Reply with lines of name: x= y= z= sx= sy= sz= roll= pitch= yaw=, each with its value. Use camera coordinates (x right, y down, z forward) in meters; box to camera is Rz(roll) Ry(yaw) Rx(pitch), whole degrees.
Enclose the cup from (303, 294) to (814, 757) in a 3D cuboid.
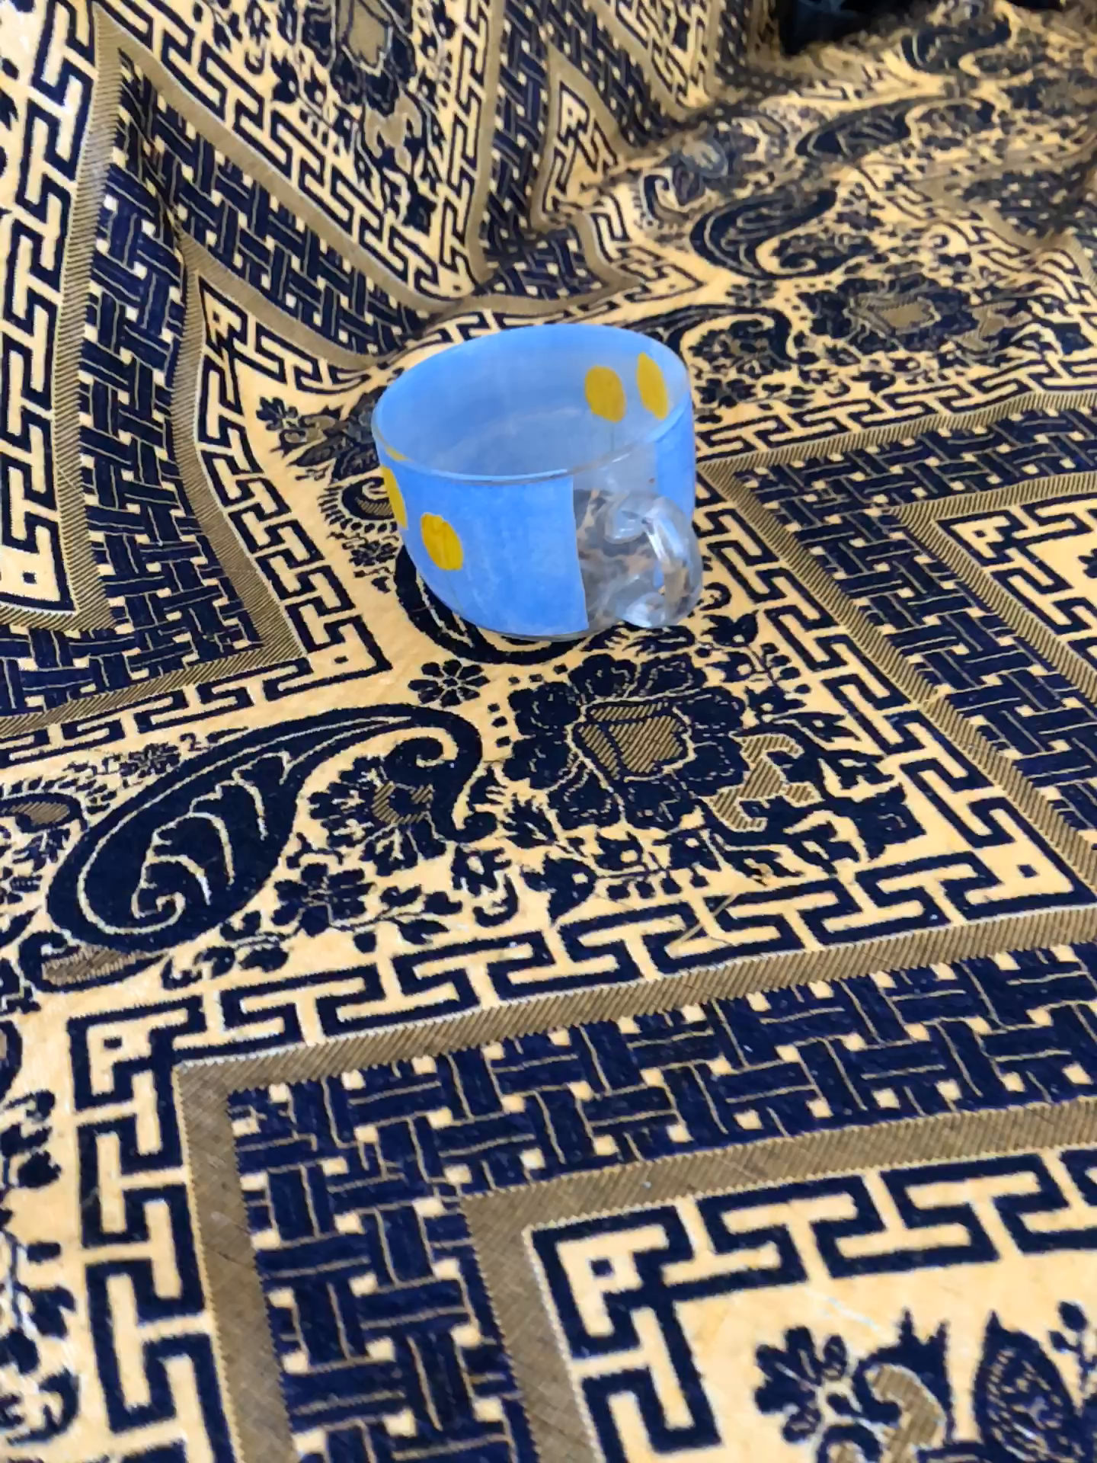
cup: x=0.000 y=-0.078 z=0.410 sx=0.108 sy=0.072 sz=0.139 roll=-24 pitch=44 yaw=-20
